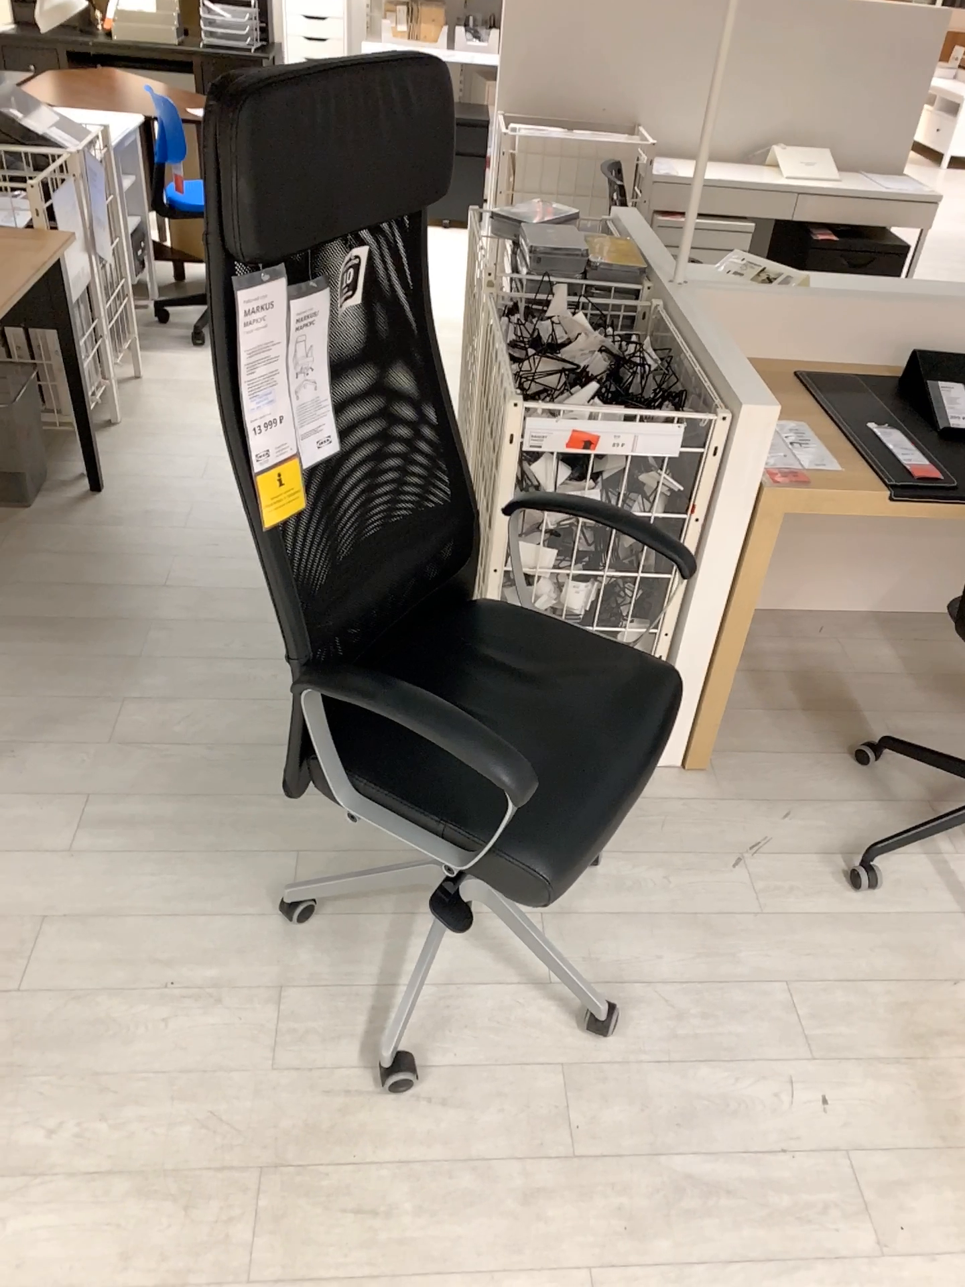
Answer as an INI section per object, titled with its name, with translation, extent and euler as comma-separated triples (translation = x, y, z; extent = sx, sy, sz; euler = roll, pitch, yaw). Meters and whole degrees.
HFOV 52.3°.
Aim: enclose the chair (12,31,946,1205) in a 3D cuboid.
[chair]
translation = 0.019, -0.037, 1.362
extent = 0.679, 1.293, 0.725
euler = 20, 38, 19
